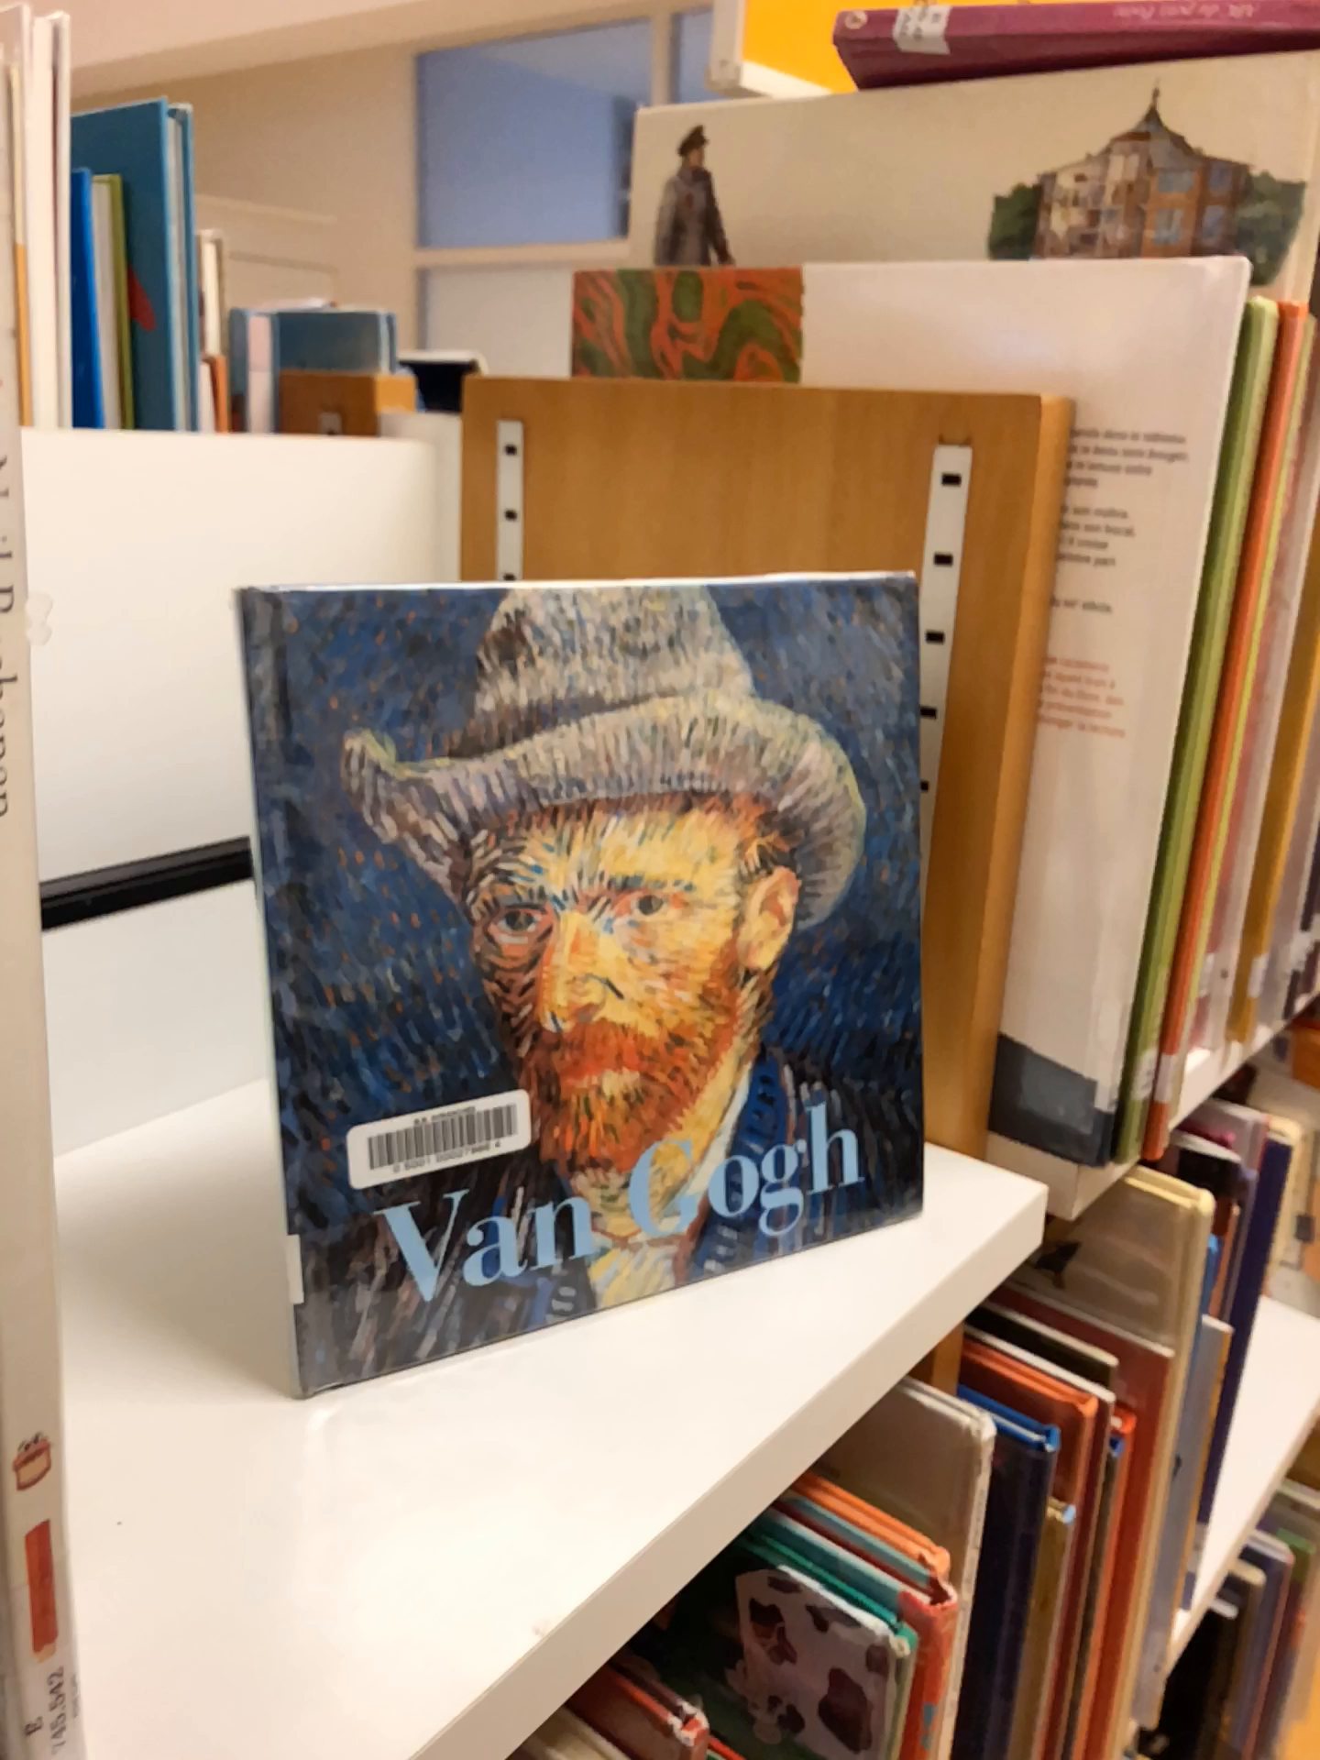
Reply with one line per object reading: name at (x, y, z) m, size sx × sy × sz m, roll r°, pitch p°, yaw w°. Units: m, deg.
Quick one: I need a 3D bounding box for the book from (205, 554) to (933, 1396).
book at (-0.010, 0.014, 0.394) m, size 0.201 × 0.198 × 0.013 m, roll -7°, pitch 9°, yaw -29°
